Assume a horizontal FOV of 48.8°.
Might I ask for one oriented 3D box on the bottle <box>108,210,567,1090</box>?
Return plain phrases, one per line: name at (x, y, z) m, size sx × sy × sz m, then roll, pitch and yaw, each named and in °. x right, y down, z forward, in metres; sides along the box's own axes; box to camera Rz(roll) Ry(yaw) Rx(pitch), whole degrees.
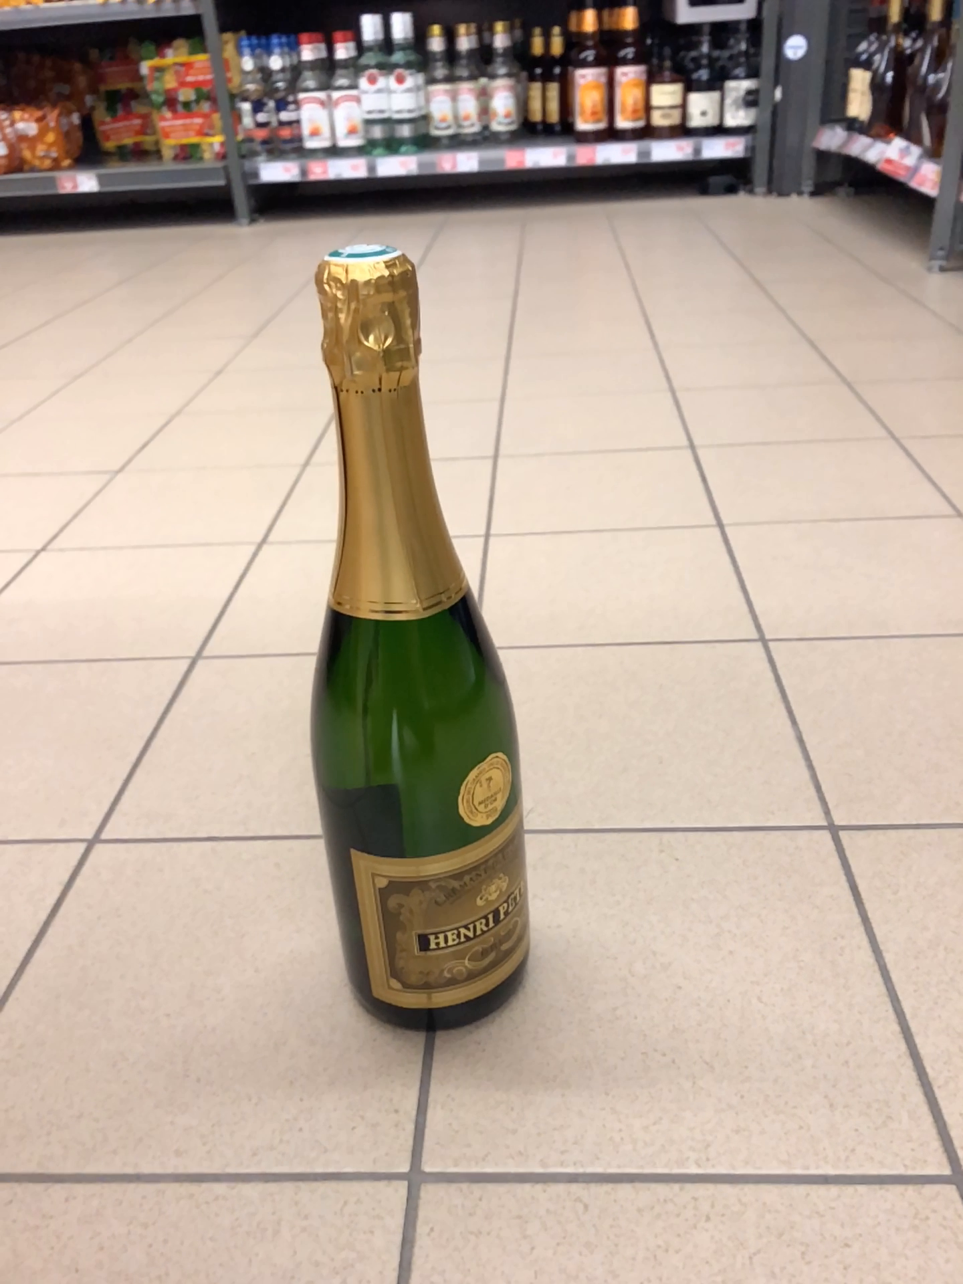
bottle at (-0.042, 0.007, 0.409) m, size 0.100 × 0.308 × 0.100 m, roll -3°, pitch 28°, yaw 2°
